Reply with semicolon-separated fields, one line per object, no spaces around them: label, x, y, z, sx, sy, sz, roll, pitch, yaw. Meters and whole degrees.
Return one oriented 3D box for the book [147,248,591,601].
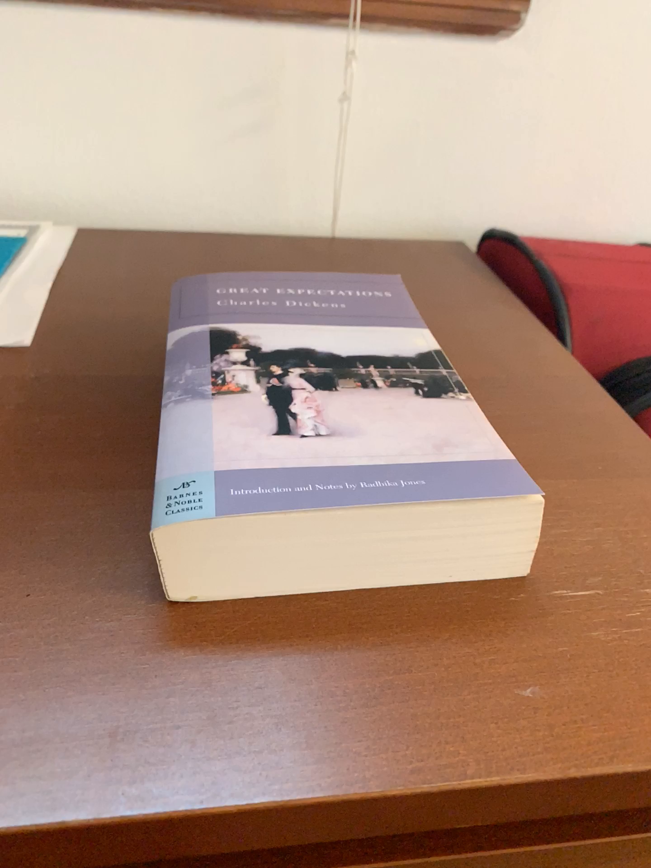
book;-0.001;-0.023;0.299;0.140;0.040;0.202;-1;36;-11
